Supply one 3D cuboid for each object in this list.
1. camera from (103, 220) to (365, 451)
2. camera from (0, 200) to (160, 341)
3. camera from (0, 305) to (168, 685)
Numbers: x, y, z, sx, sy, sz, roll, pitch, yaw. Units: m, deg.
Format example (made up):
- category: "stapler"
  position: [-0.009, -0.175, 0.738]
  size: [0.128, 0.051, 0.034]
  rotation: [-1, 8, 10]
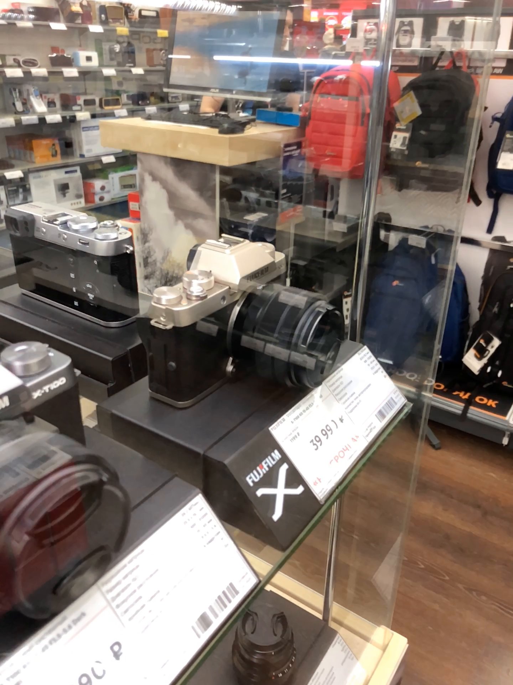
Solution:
- category: "camera"
  position: [-0.008, -0.016, 0.355]
  size: [0.100, 0.080, 0.132]
  rotation: [17, 30, 28]
- category: "camera"
  position: [-0.148, -0.063, 0.463]
  size: [0.132, 0.076, 0.055]
  rotation: [19, 32, 32]
- category: "camera"
  position: [-0.121, 0.060, 0.213]
  size: [0.102, 0.086, 0.141]
  rotation: [18, 31, 29]
